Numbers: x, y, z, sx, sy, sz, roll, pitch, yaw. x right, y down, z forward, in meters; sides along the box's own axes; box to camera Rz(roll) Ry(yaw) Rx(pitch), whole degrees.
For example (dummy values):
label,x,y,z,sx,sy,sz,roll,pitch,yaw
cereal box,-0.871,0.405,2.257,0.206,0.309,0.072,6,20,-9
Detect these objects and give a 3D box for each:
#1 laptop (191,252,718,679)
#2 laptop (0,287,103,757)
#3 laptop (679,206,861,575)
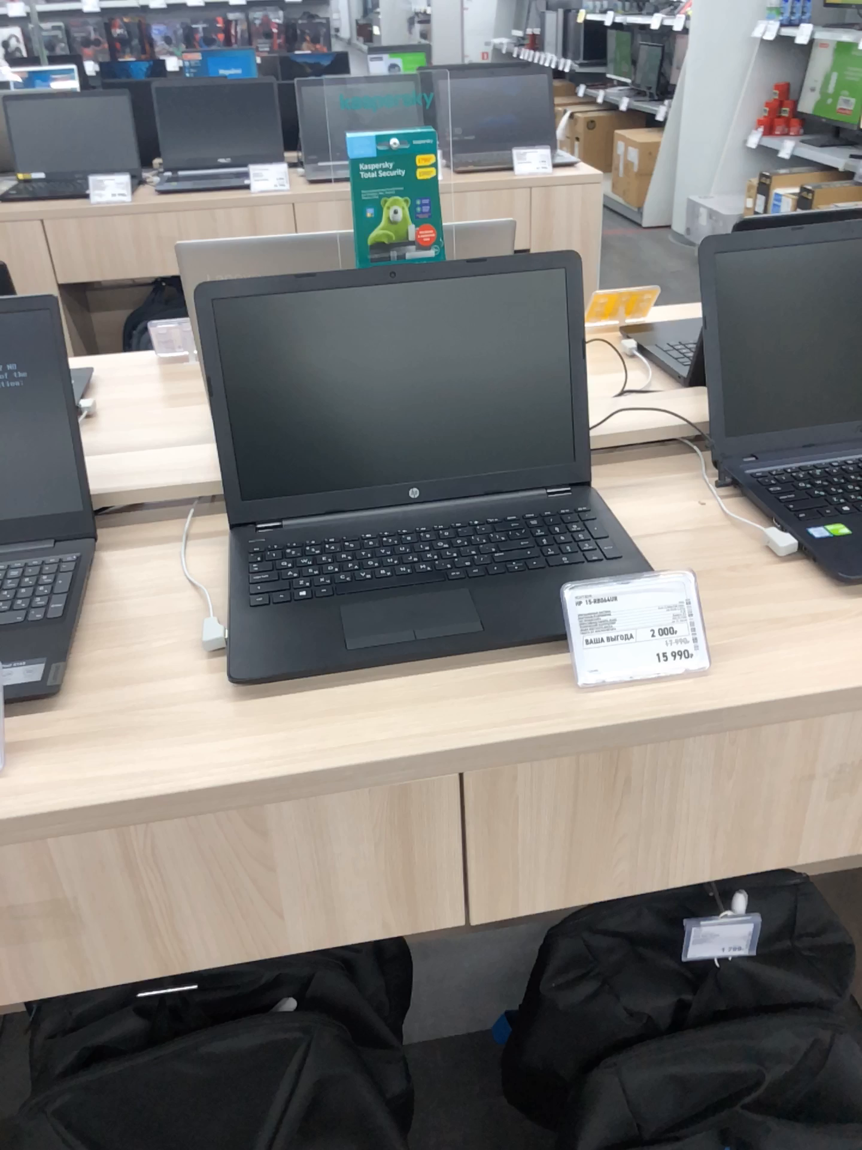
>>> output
label,x,y,z,sx,sy,sz,roll,pitch,yaw
laptop,-0.002,-0.119,0.829,0.366,0.216,0.313,-8,32,-8
laptop,-0.489,-0.071,0.785,0.331,0.213,0.329,-7,32,-8
laptop,0.503,-0.202,0.923,0.369,0.209,0.335,-8,33,-10
